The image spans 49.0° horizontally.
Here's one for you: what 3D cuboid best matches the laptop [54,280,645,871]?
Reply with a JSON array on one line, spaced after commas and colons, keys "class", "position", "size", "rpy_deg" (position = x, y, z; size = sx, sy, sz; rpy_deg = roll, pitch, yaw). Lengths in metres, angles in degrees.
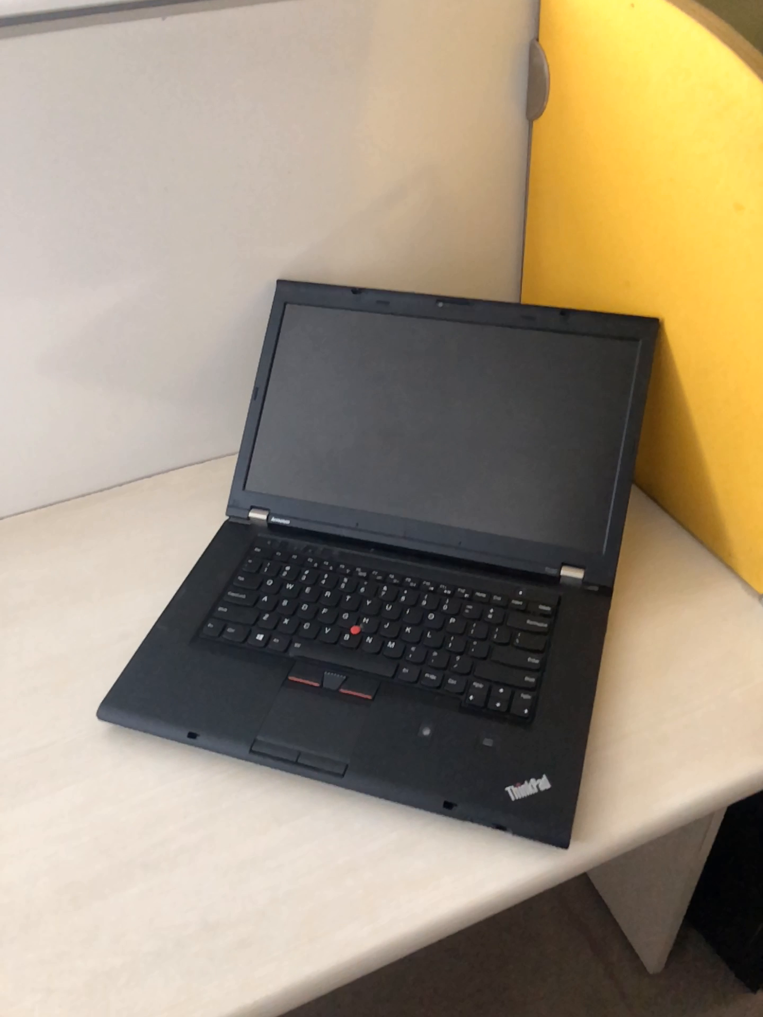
[{"class": "laptop", "position": [0.013, 0.005, 0.691], "size": [0.353, 0.143, 0.420], "rpy_deg": [10, 46, 14]}]
